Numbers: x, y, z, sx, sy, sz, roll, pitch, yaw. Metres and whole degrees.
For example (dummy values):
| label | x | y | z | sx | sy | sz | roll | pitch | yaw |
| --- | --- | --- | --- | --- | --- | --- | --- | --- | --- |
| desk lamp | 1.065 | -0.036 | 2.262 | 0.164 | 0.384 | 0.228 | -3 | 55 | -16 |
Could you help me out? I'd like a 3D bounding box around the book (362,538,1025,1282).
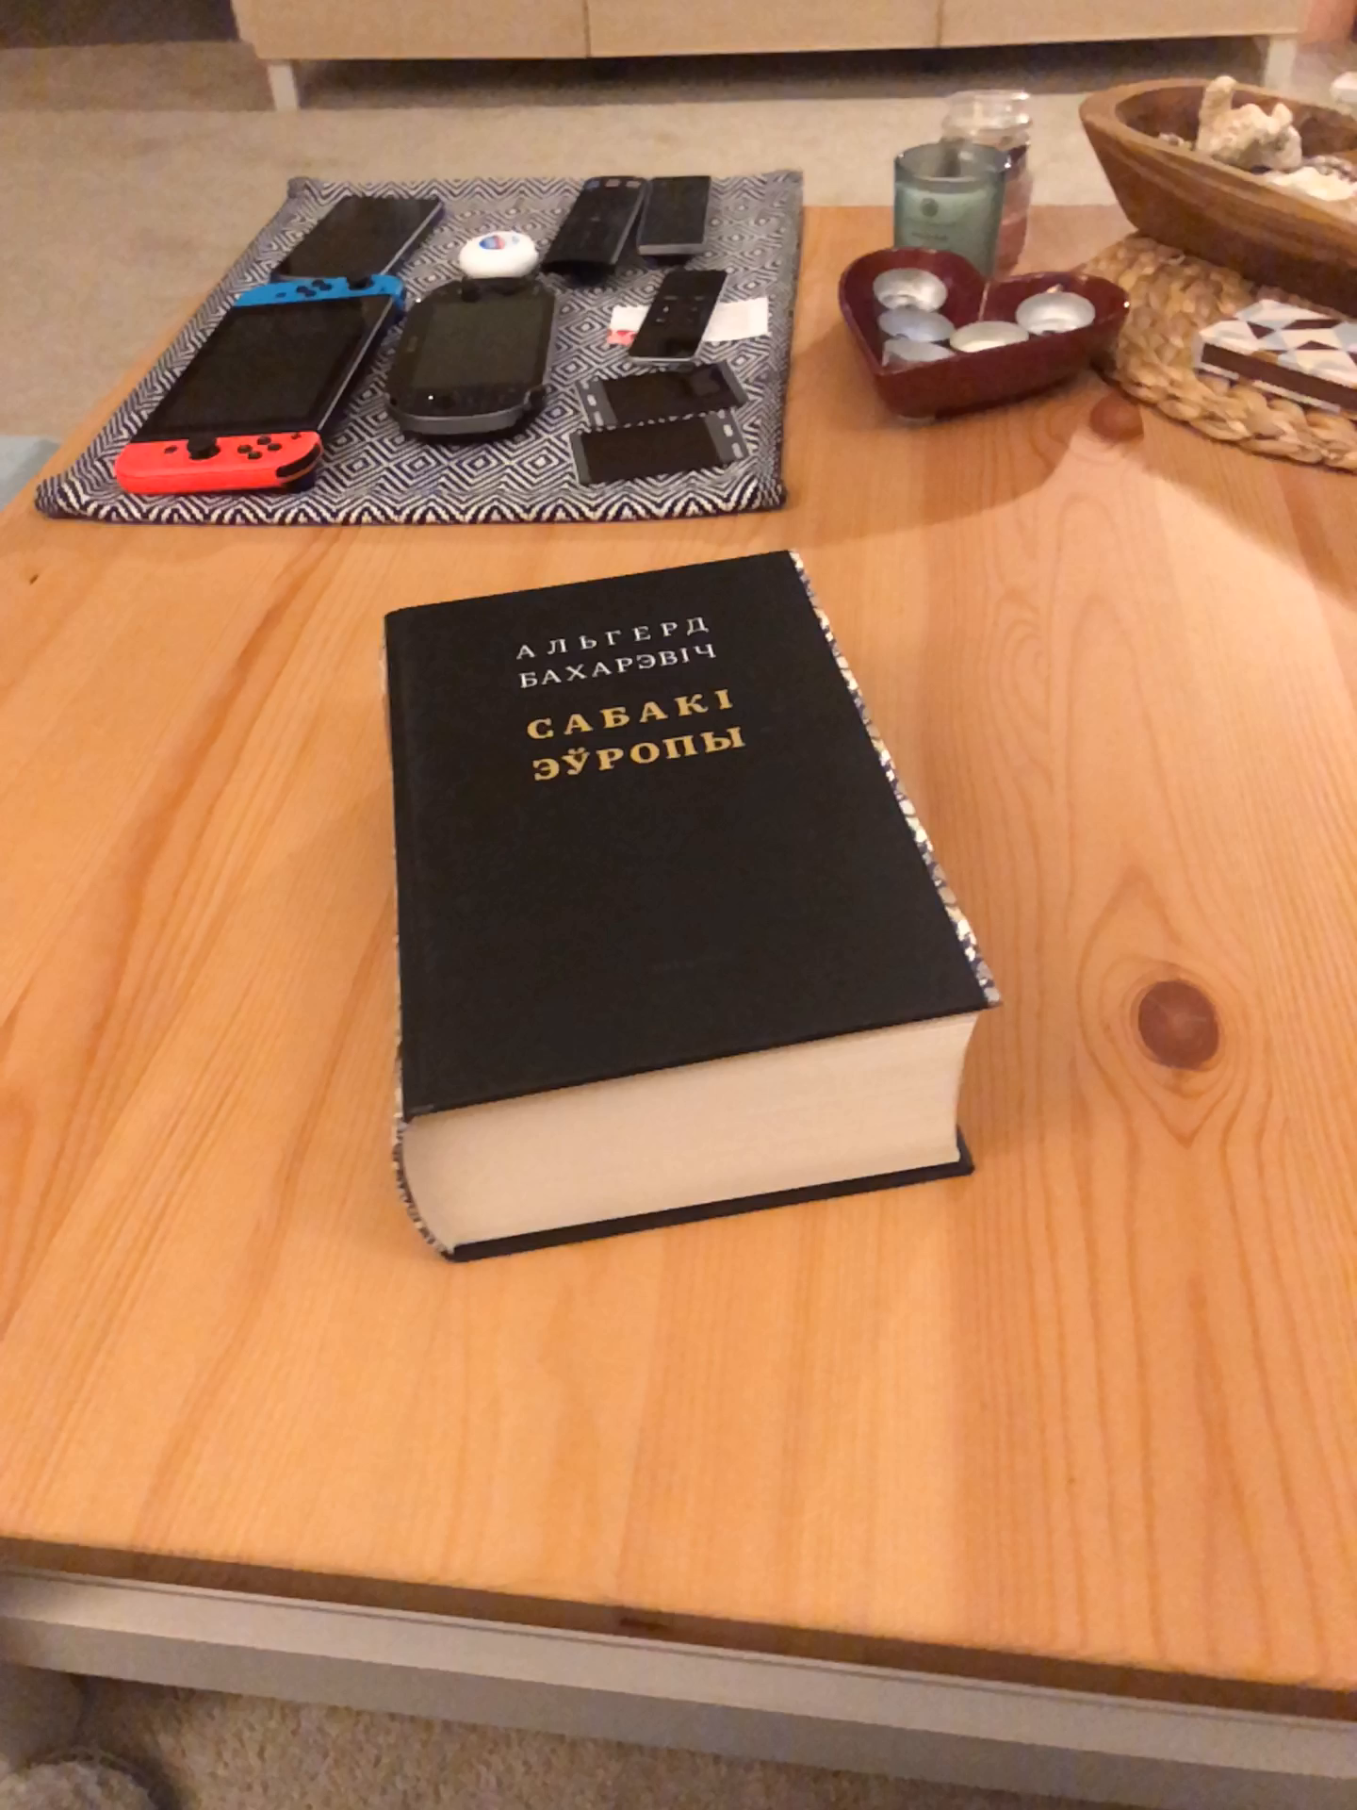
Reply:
| label | x | y | z | sx | sy | sz | roll | pitch | yaw |
| --- | --- | --- | --- | --- | --- | --- | --- | --- | --- |
| book | -0.010 | -0.015 | 0.462 | 0.157 | 0.061 | 0.230 | -10 | 45 | -4 |
